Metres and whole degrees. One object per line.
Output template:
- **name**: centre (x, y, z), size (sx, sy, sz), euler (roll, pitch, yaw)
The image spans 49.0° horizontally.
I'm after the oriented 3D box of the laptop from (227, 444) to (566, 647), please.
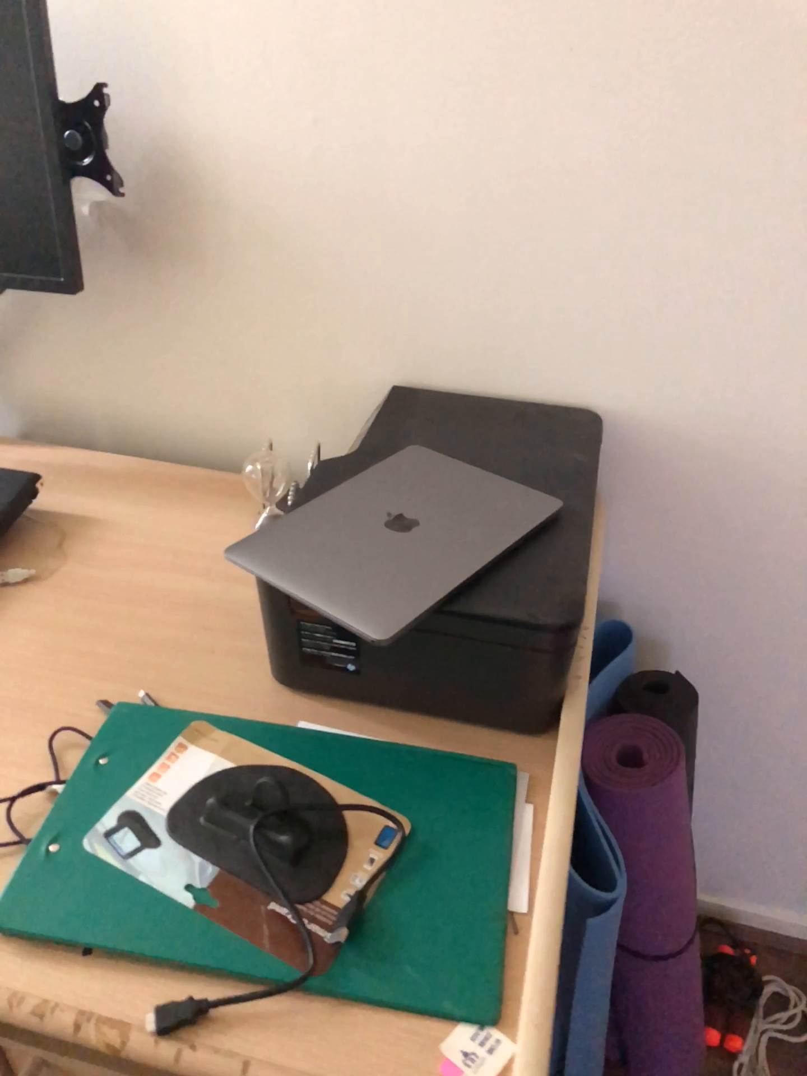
- **laptop**: centre (-0.001, -0.008, 0.827), size (0.189, 0.007, 0.266), euler (25, 42, 33)
